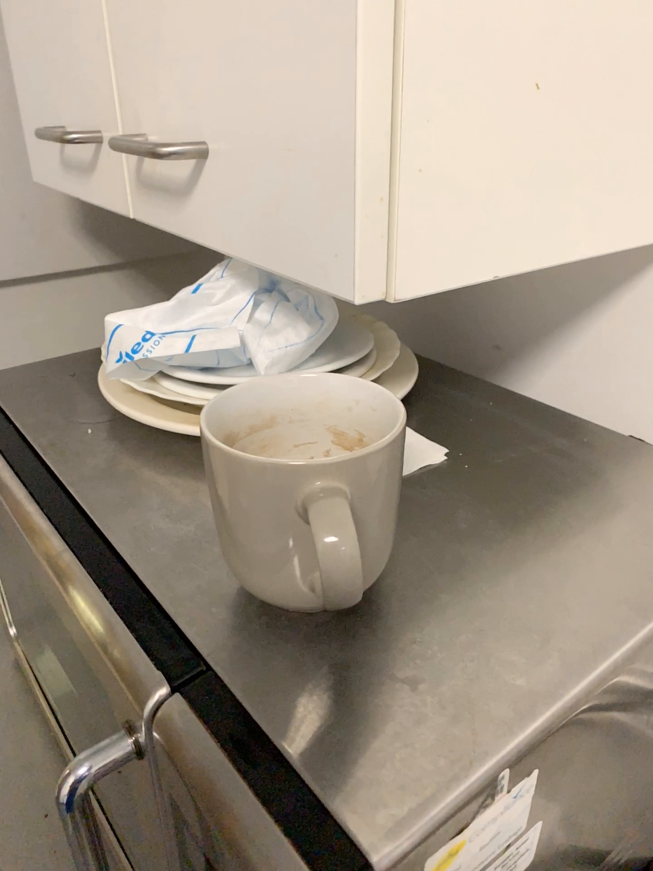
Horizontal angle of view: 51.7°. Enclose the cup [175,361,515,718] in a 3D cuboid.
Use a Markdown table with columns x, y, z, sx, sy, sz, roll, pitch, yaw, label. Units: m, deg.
| x | y | z | sx | sy | sz | roll | pitch | yaw | label |
| --- | --- | --- | --- | --- | --- | --- | --- | --- | --- |
| -0.001 | 0.032 | 0.293 | 0.101 | 0.079 | 0.125 | -10 | 28 | -18 | cup |
